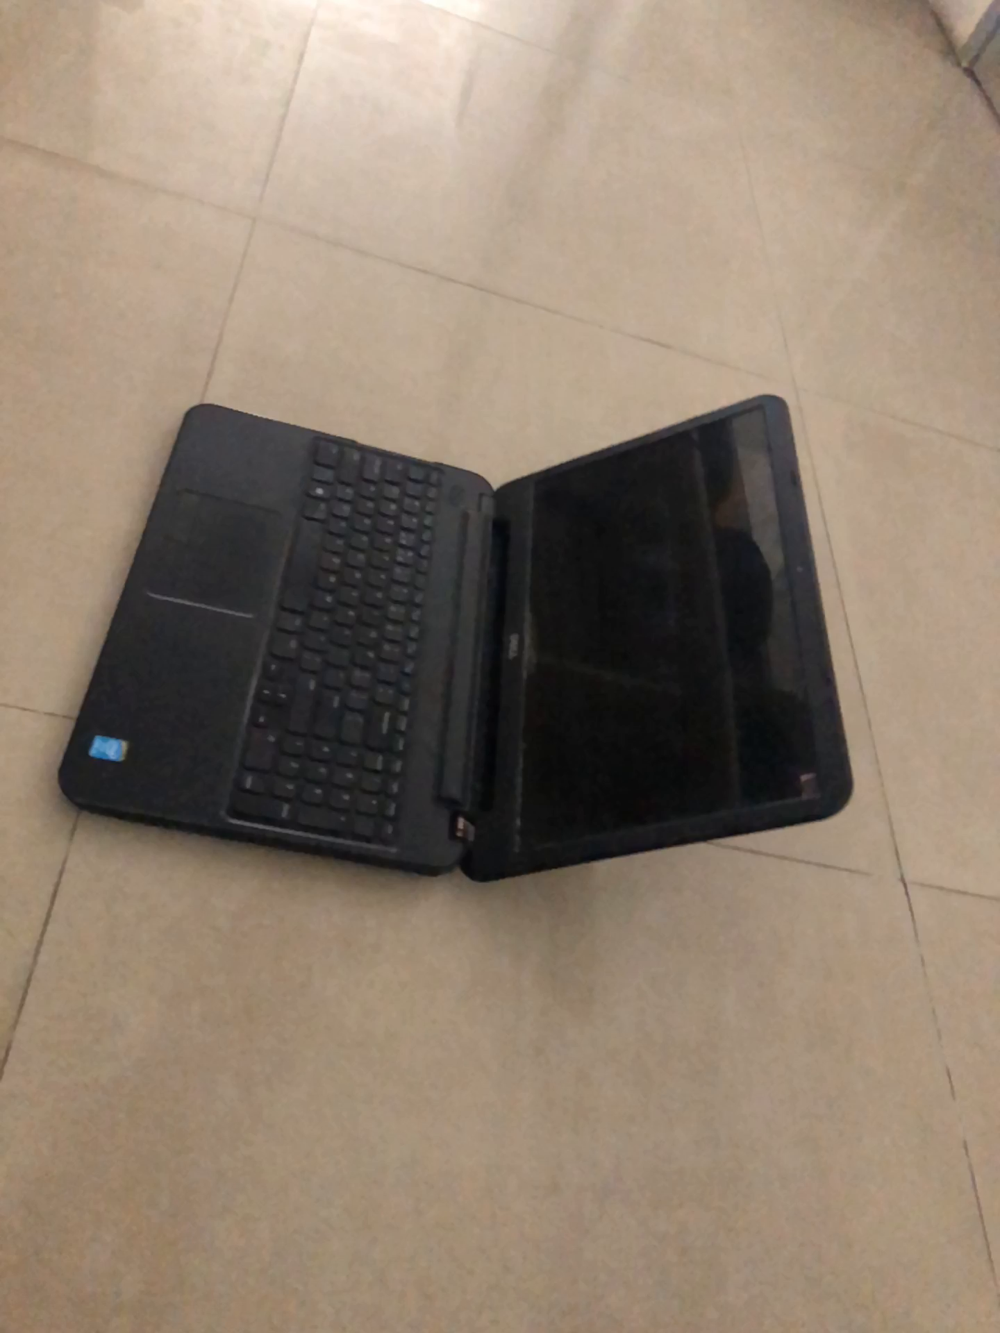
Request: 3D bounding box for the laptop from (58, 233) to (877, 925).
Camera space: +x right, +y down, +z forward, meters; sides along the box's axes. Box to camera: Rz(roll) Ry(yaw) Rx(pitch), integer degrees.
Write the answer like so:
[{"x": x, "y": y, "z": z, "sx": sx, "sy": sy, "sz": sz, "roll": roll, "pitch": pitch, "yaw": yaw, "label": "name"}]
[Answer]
[{"x": -0.015, "y": -0.060, "z": 0.732, "sx": 0.427, "sy": 0.164, "sz": 0.359, "roll": 12, "pitch": 51, "yaw": -11, "label": "laptop"}]
